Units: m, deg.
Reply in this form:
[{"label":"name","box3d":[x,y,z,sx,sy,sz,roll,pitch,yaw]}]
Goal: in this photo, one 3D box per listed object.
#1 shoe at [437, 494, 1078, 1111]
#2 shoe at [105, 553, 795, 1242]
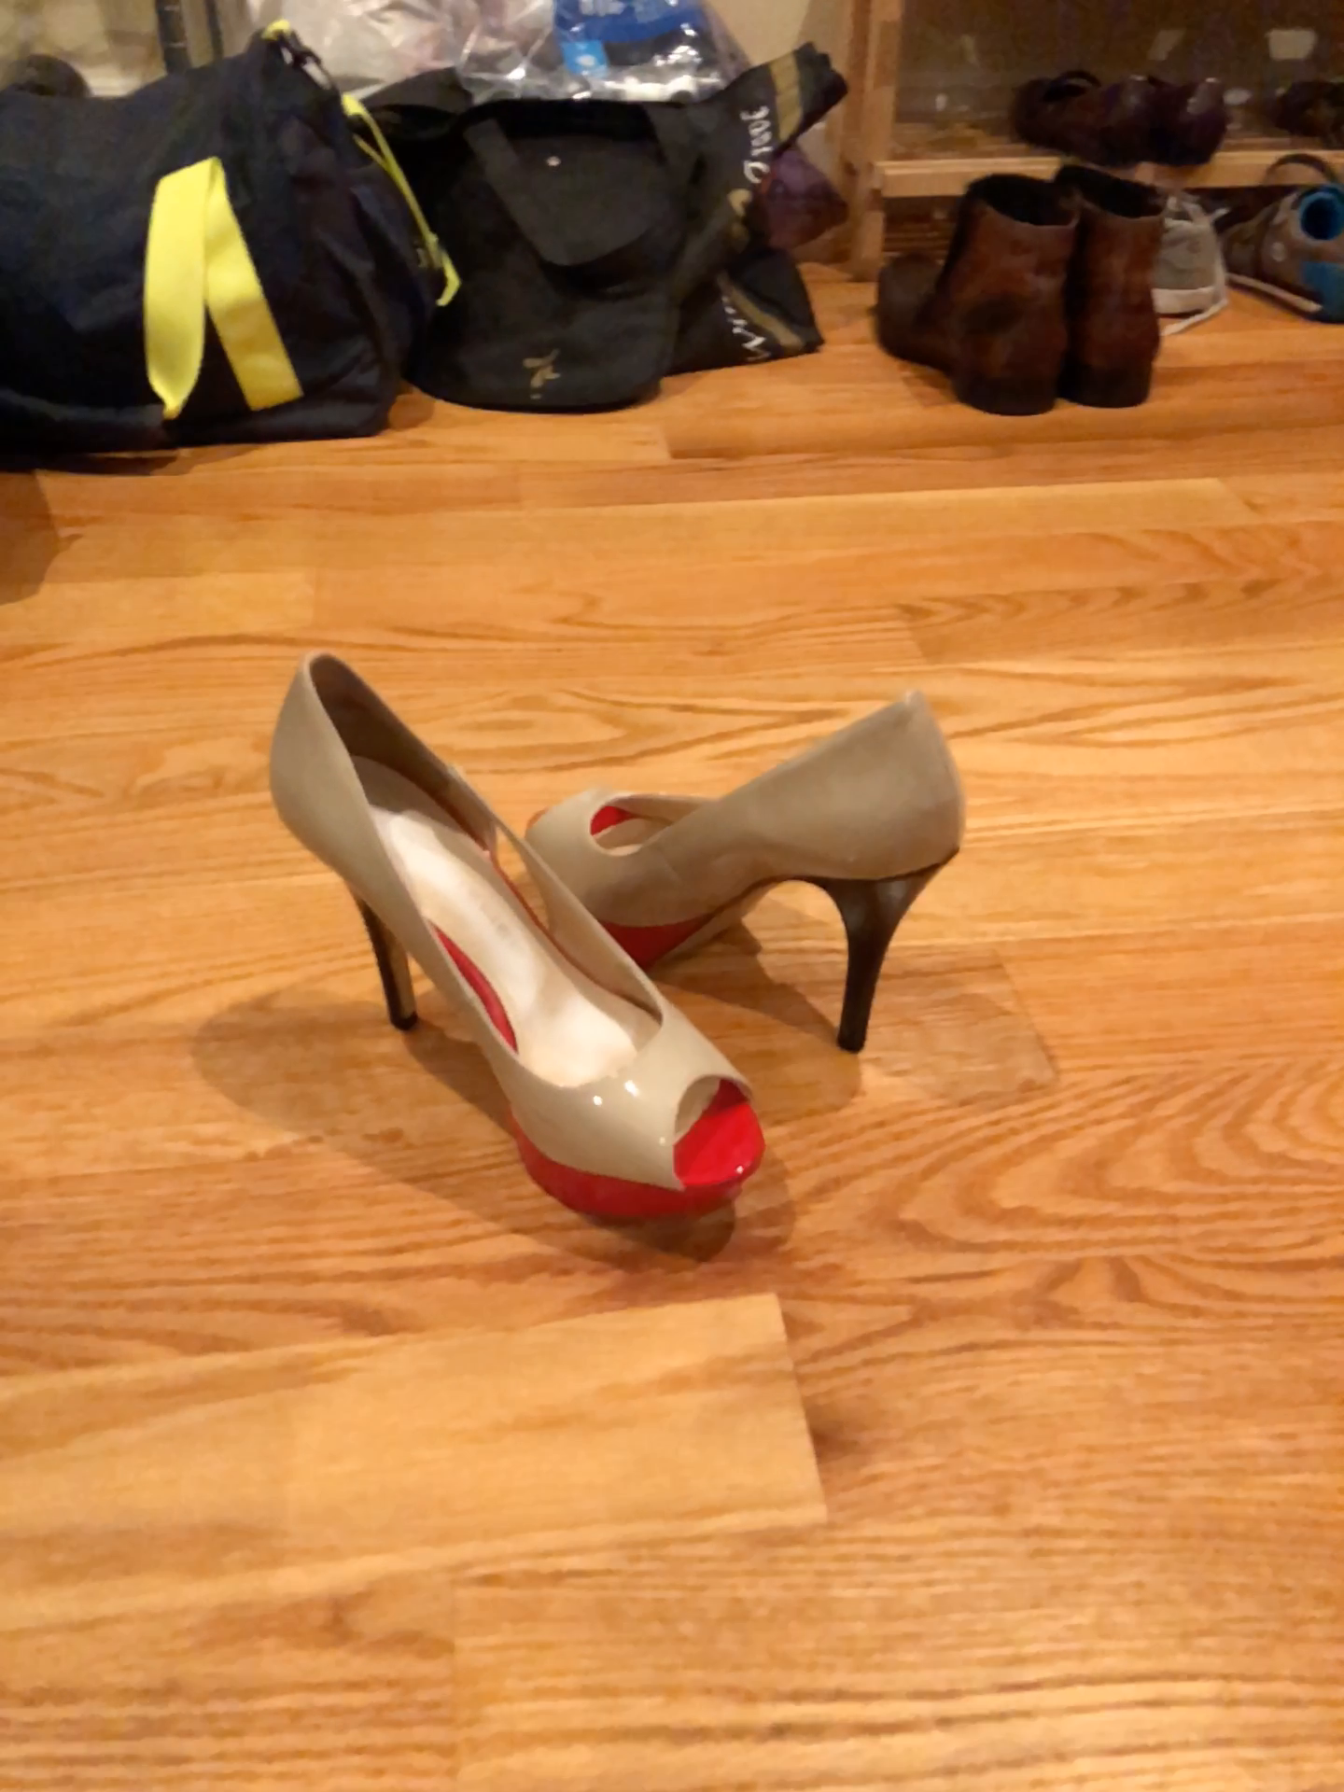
[{"label":"shoe","box3d":[0.023,-0.043,0.562,0.220,0.149,0.080,26,44,30]},{"label":"shoe","box3d":[-0.075,-0.010,0.485,0.215,0.129,0.085,27,44,31]}]
